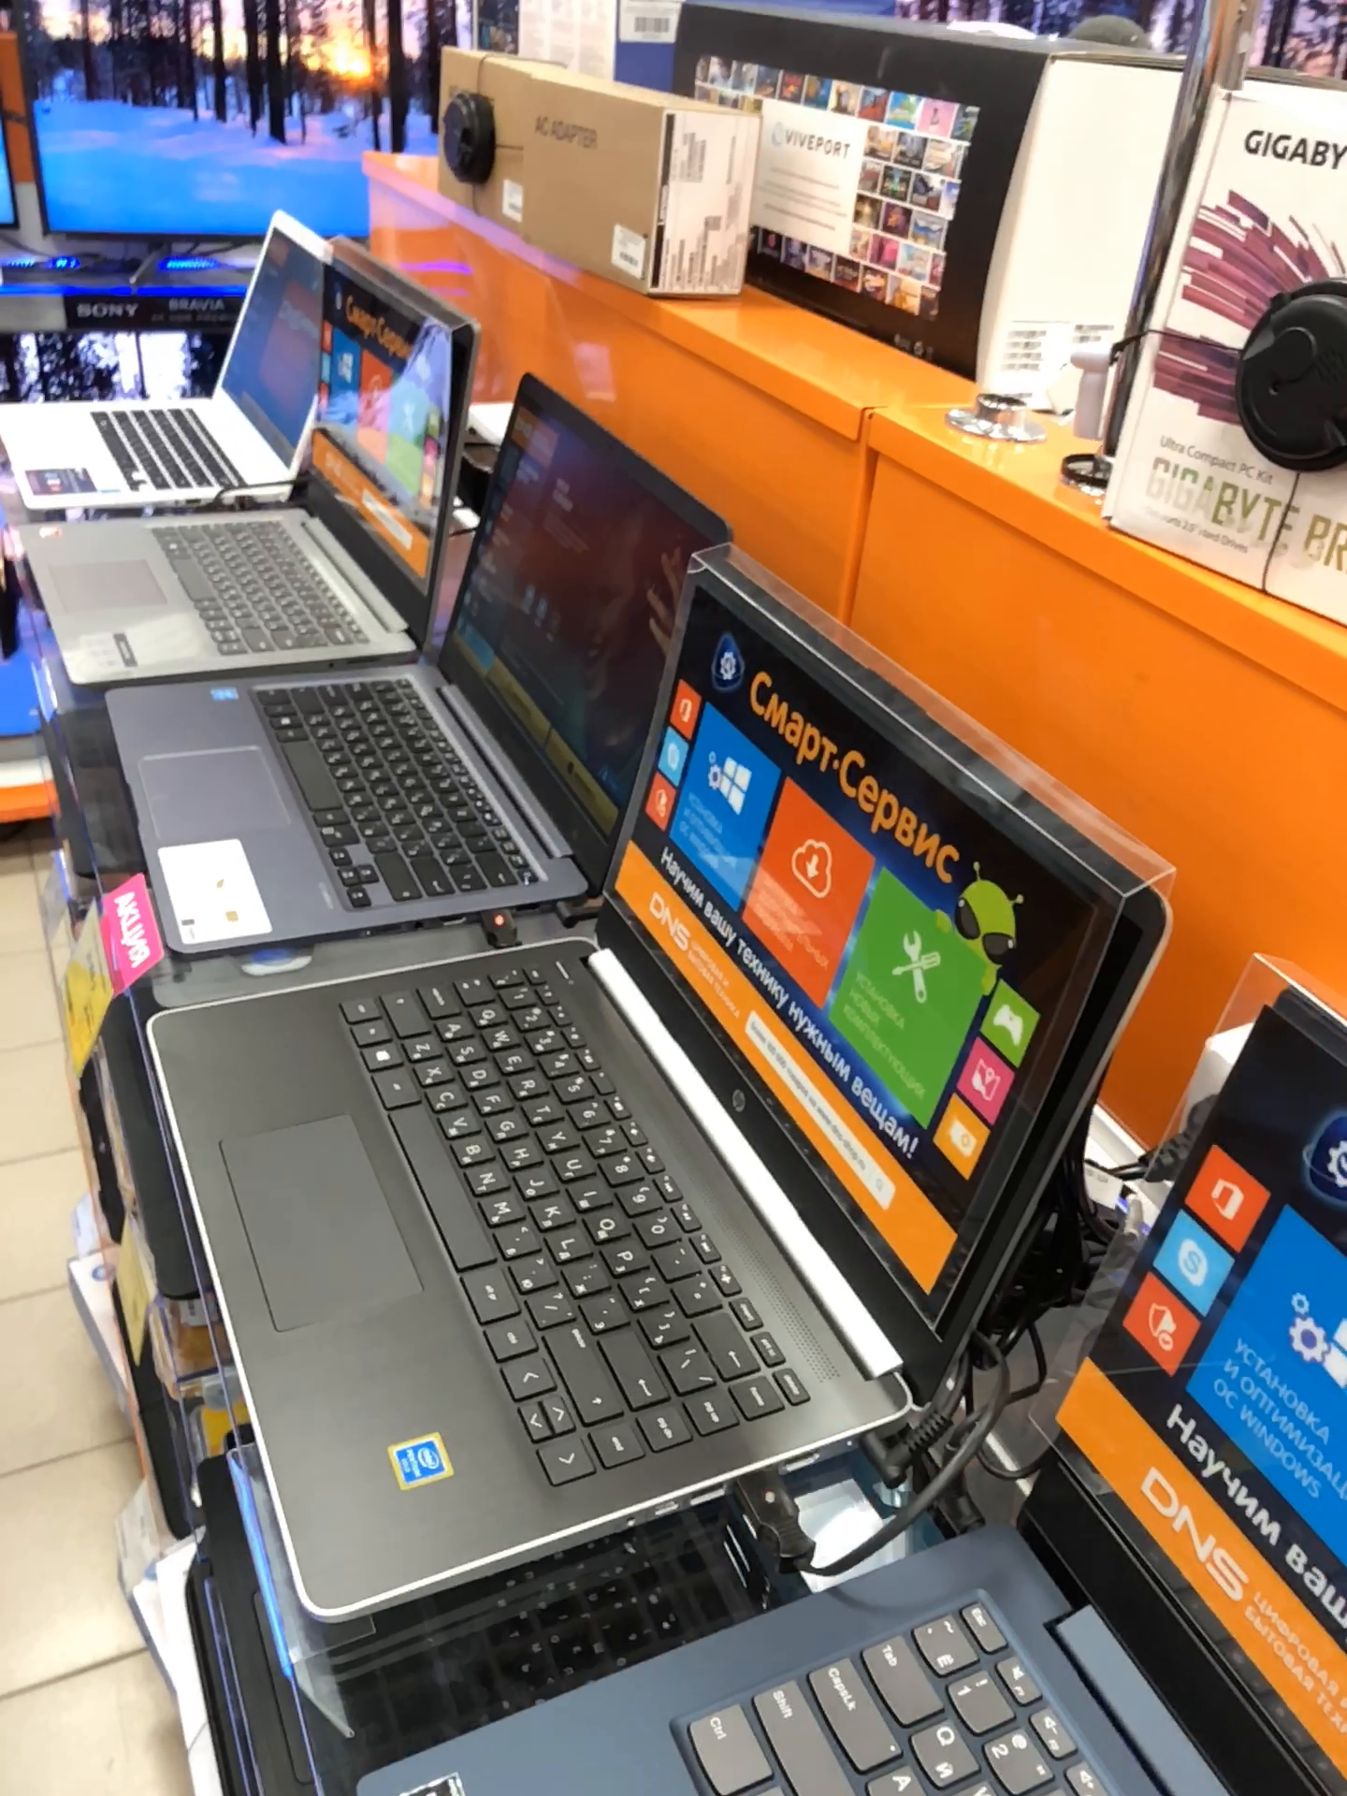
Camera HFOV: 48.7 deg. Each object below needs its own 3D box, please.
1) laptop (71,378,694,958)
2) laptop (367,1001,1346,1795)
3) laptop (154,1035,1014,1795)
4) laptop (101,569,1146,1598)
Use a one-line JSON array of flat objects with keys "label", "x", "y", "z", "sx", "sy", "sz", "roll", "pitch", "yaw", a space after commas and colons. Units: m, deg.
[{"label": "laptop", "x": -0.179, "y": -0.159, "z": 0.865, "sx": 0.279, "sy": 0.198, "sz": 0.314, "roll": -9, "pitch": 35, "yaw": -25}, {"label": "laptop", "x": 0.088, "y": 0.203, "z": 0.296, "sx": 0.248, "sy": 0.205, "sz": 0.277, "roll": -9, "pitch": 32, "yaw": -21}, {"label": "laptop", "x": -0.073, "y": 0.287, "z": 0.688, "sx": 0.251, "sy": 0.245, "sz": 0.364, "roll": -9, "pitch": 33, "yaw": -23}, {"label": "laptop", "x": -0.049, "y": 0.030, "z": 0.576, "sx": 0.267, "sy": 0.197, "sz": 0.314, "roll": -10, "pitch": 34, "yaw": -23}]
